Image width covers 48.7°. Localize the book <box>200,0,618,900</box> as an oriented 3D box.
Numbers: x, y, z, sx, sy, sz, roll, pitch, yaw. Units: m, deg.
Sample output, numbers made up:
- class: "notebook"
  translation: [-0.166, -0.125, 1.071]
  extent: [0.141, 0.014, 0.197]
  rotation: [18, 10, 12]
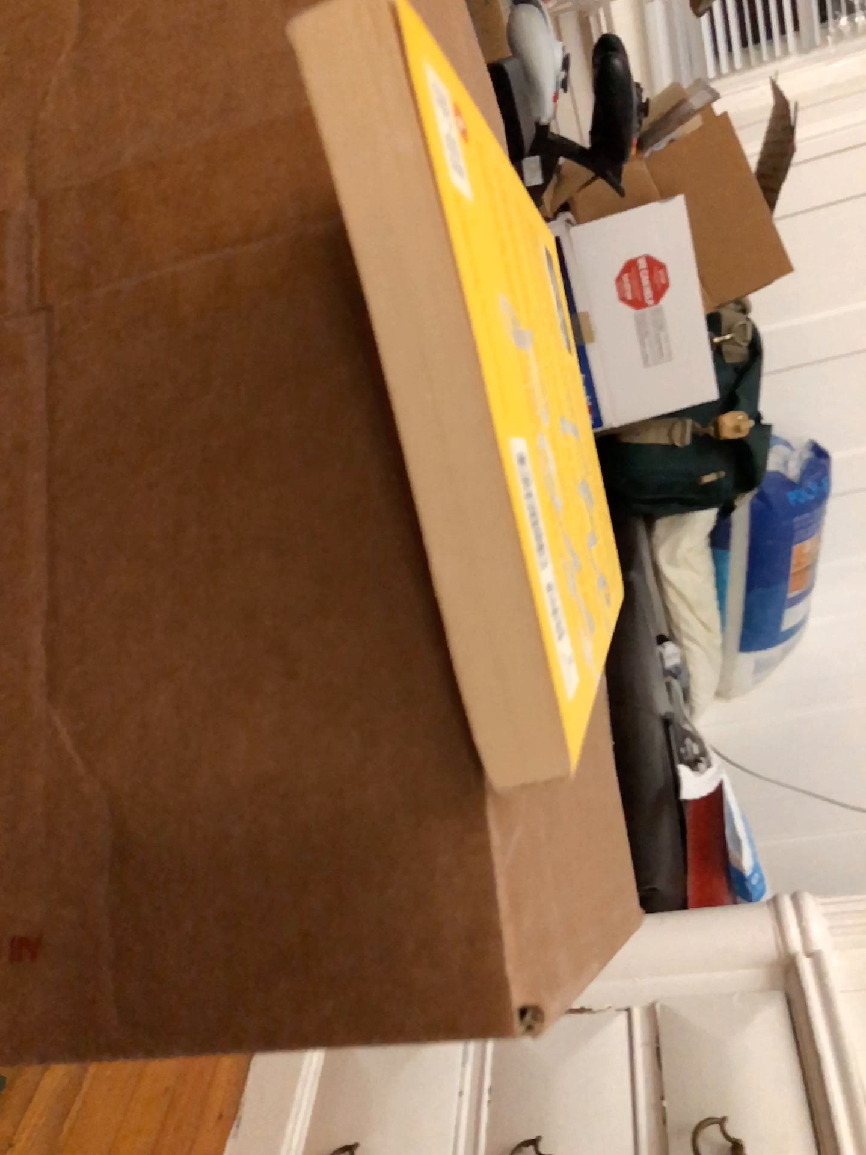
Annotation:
- class: "book"
  translation: [0.017, -0.037, 0.250]
  extent: [0.211, 0.020, 0.150]
  rotation: [-29, 107, -73]
